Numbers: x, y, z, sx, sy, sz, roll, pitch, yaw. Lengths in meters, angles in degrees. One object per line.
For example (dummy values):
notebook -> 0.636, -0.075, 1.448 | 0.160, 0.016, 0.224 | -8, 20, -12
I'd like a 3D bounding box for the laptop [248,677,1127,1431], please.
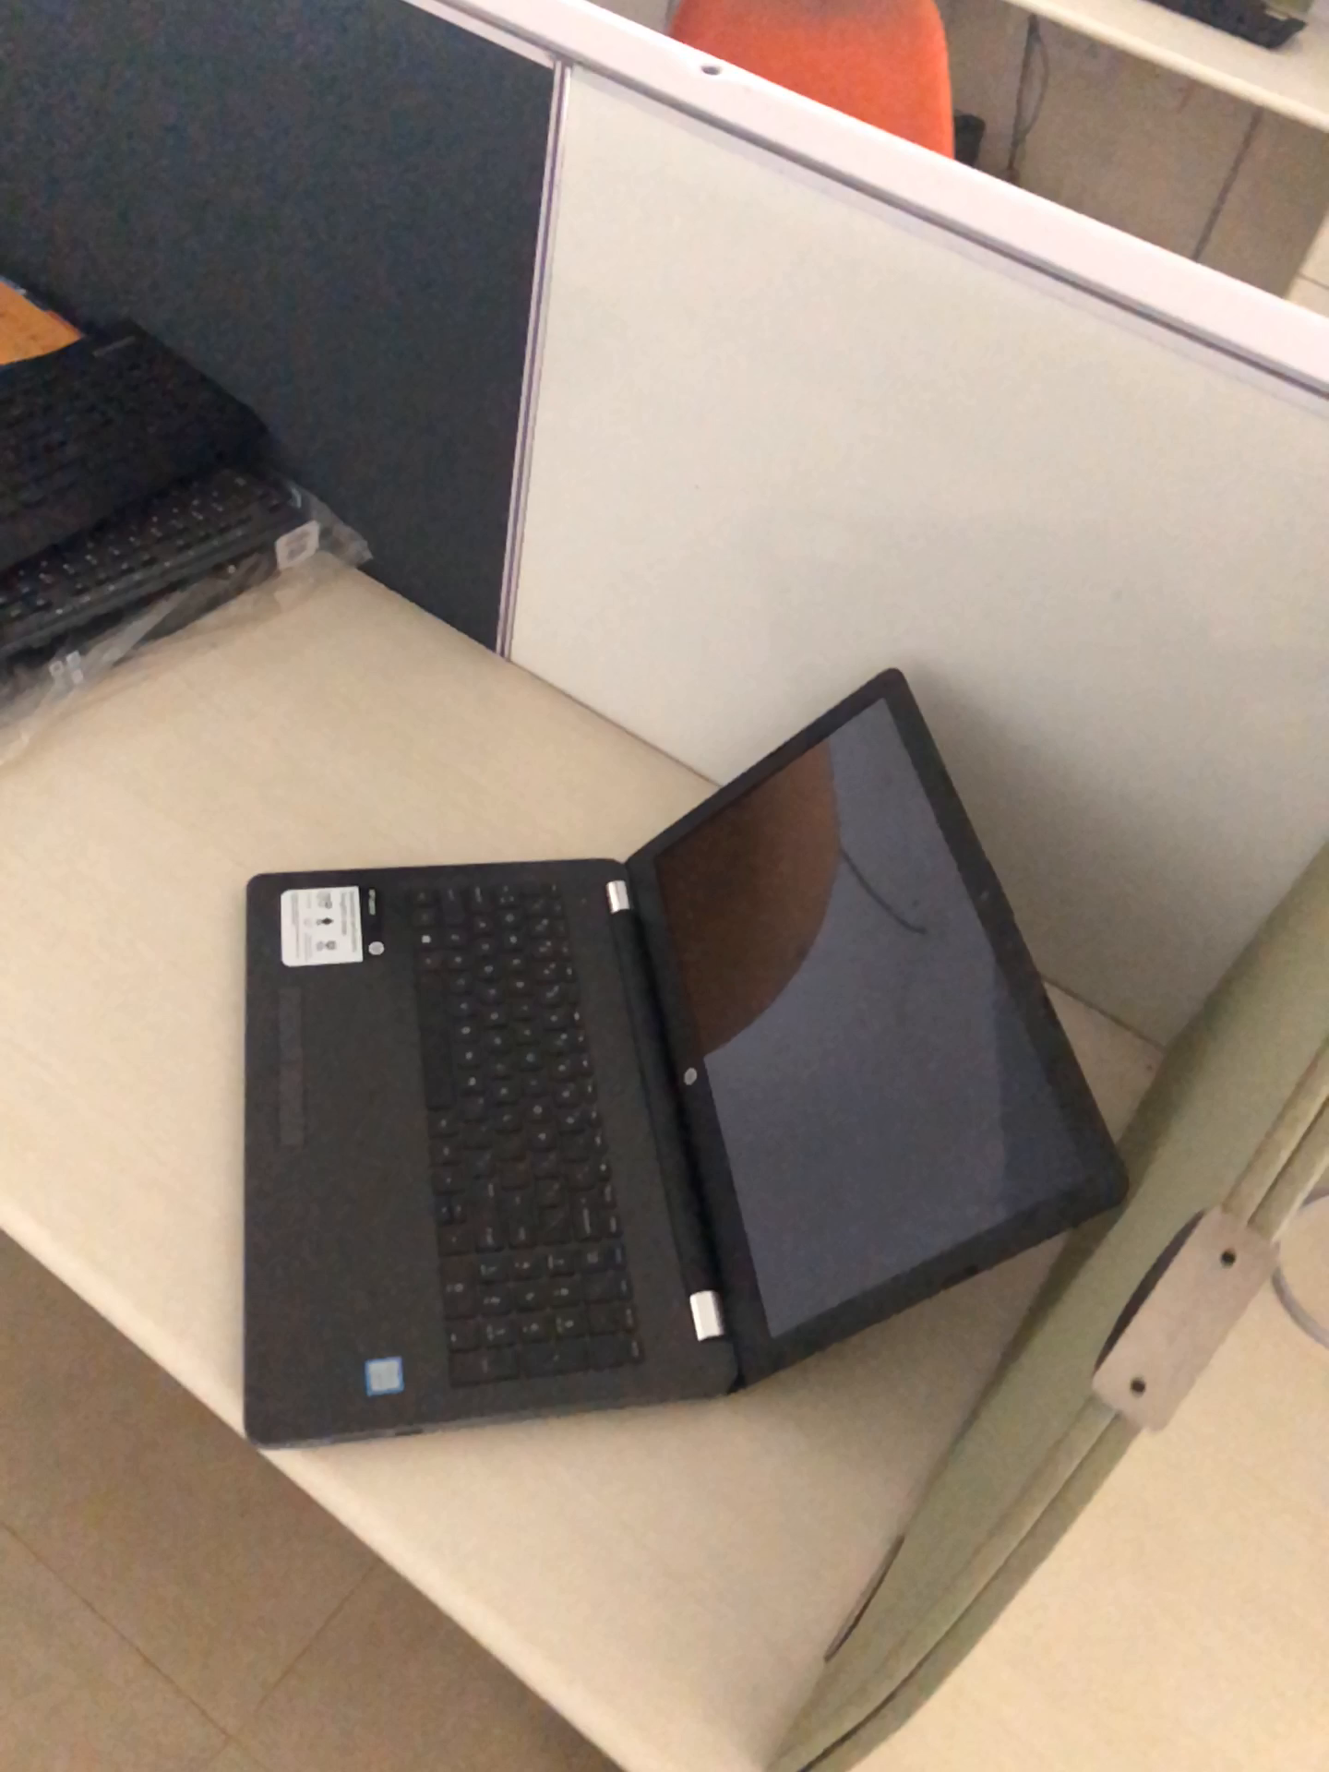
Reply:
laptop -> -0.024, 0.067, 0.814 | 0.393, 0.168, 0.367 | -2, 48, -14
